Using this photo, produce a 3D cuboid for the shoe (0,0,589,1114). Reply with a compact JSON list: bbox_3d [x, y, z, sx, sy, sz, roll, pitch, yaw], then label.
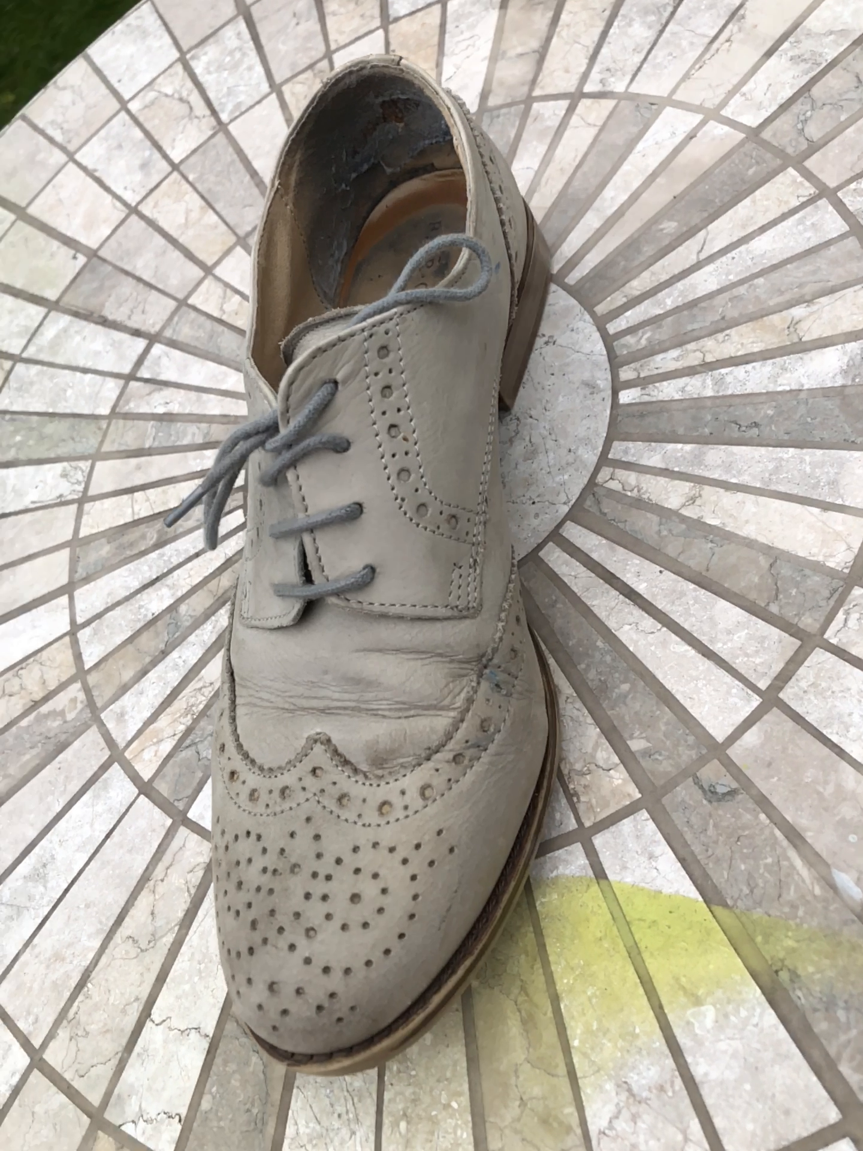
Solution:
[{"bbox_3d":[-0.019,-0.017,0.248,0.090,0.079,0.257,-5,65,25],"label":"shoe"}]
